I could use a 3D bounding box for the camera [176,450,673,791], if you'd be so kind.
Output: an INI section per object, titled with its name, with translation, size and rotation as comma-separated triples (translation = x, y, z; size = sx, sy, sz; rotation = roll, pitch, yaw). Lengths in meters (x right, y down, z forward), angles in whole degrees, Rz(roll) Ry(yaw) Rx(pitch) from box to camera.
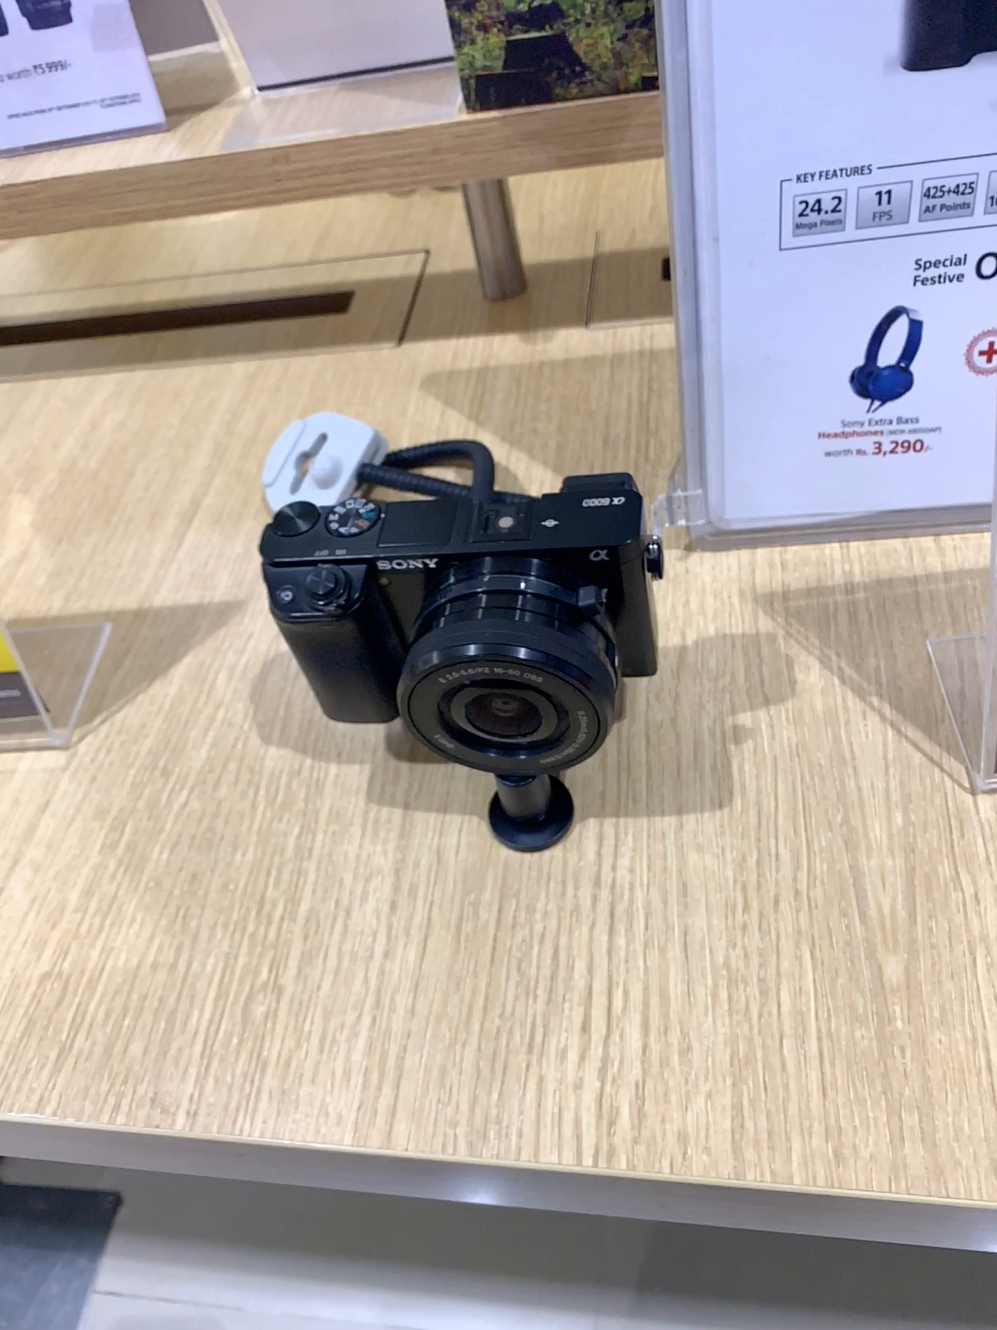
[camera]
translation = -0.014, -0.011, 0.317
size = 0.130, 0.070, 0.070
rotation = -2, 50, 12
